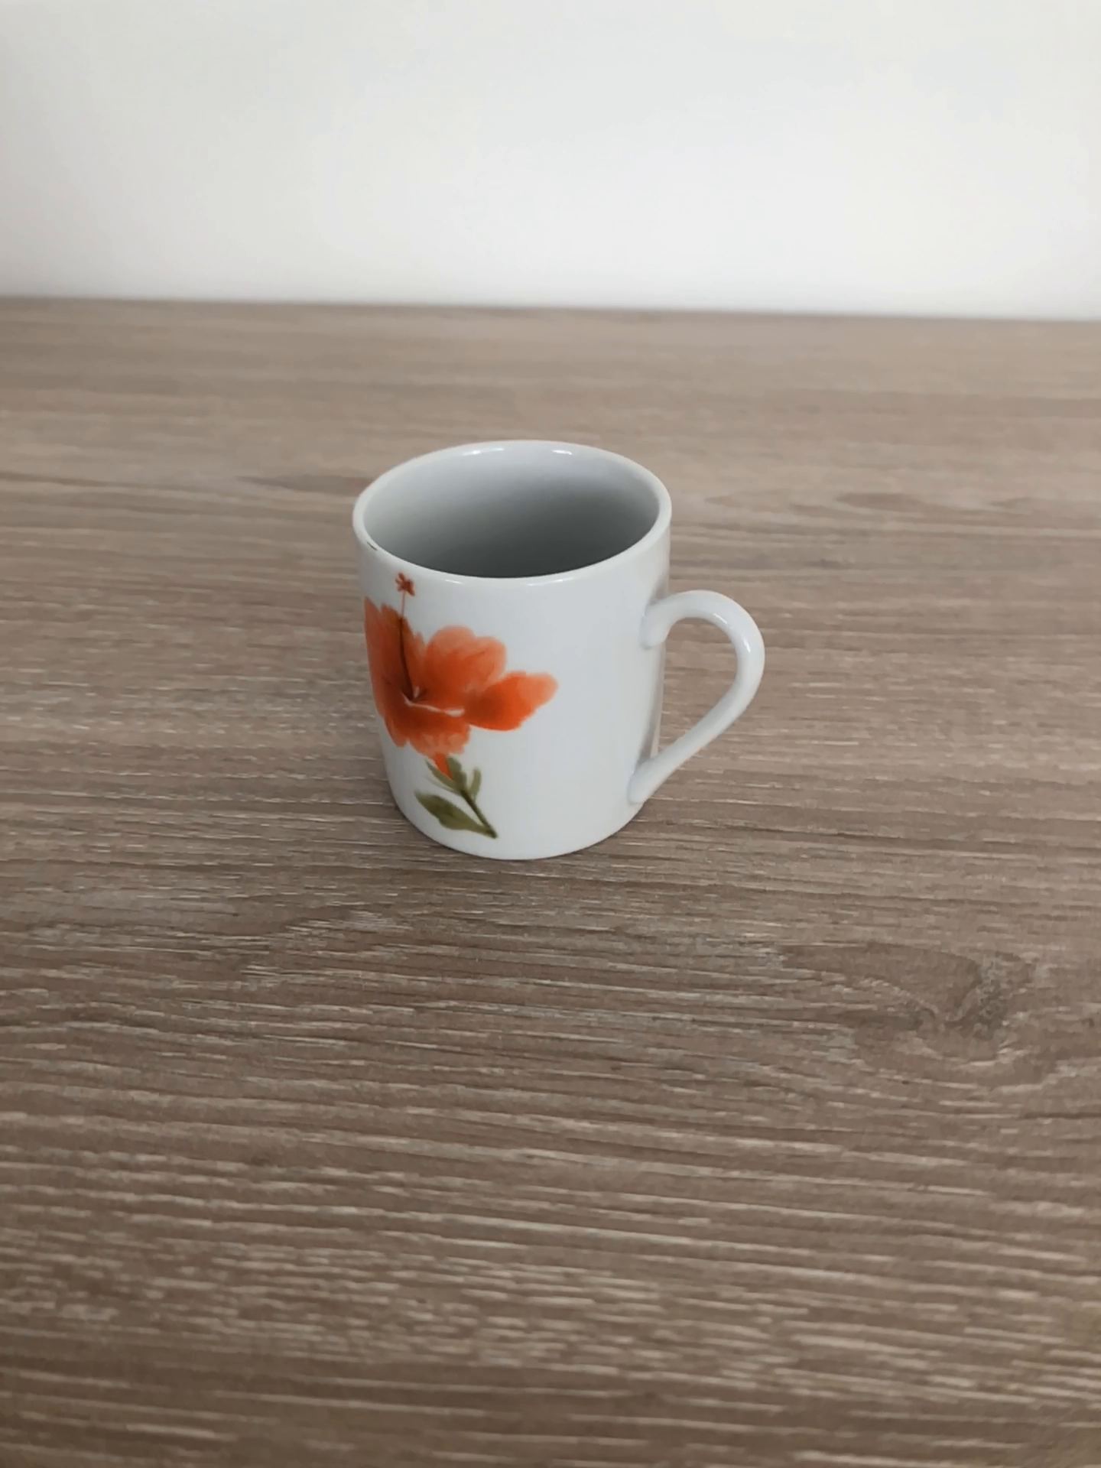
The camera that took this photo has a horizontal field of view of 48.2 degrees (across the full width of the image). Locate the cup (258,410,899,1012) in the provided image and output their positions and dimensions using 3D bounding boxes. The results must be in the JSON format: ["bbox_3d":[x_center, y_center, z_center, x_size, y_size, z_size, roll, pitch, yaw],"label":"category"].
[{"bbox_3d":[0.006,-0.009,0.208,0.080,0.060,0.060,19,40,26],"label":"cup"}]
